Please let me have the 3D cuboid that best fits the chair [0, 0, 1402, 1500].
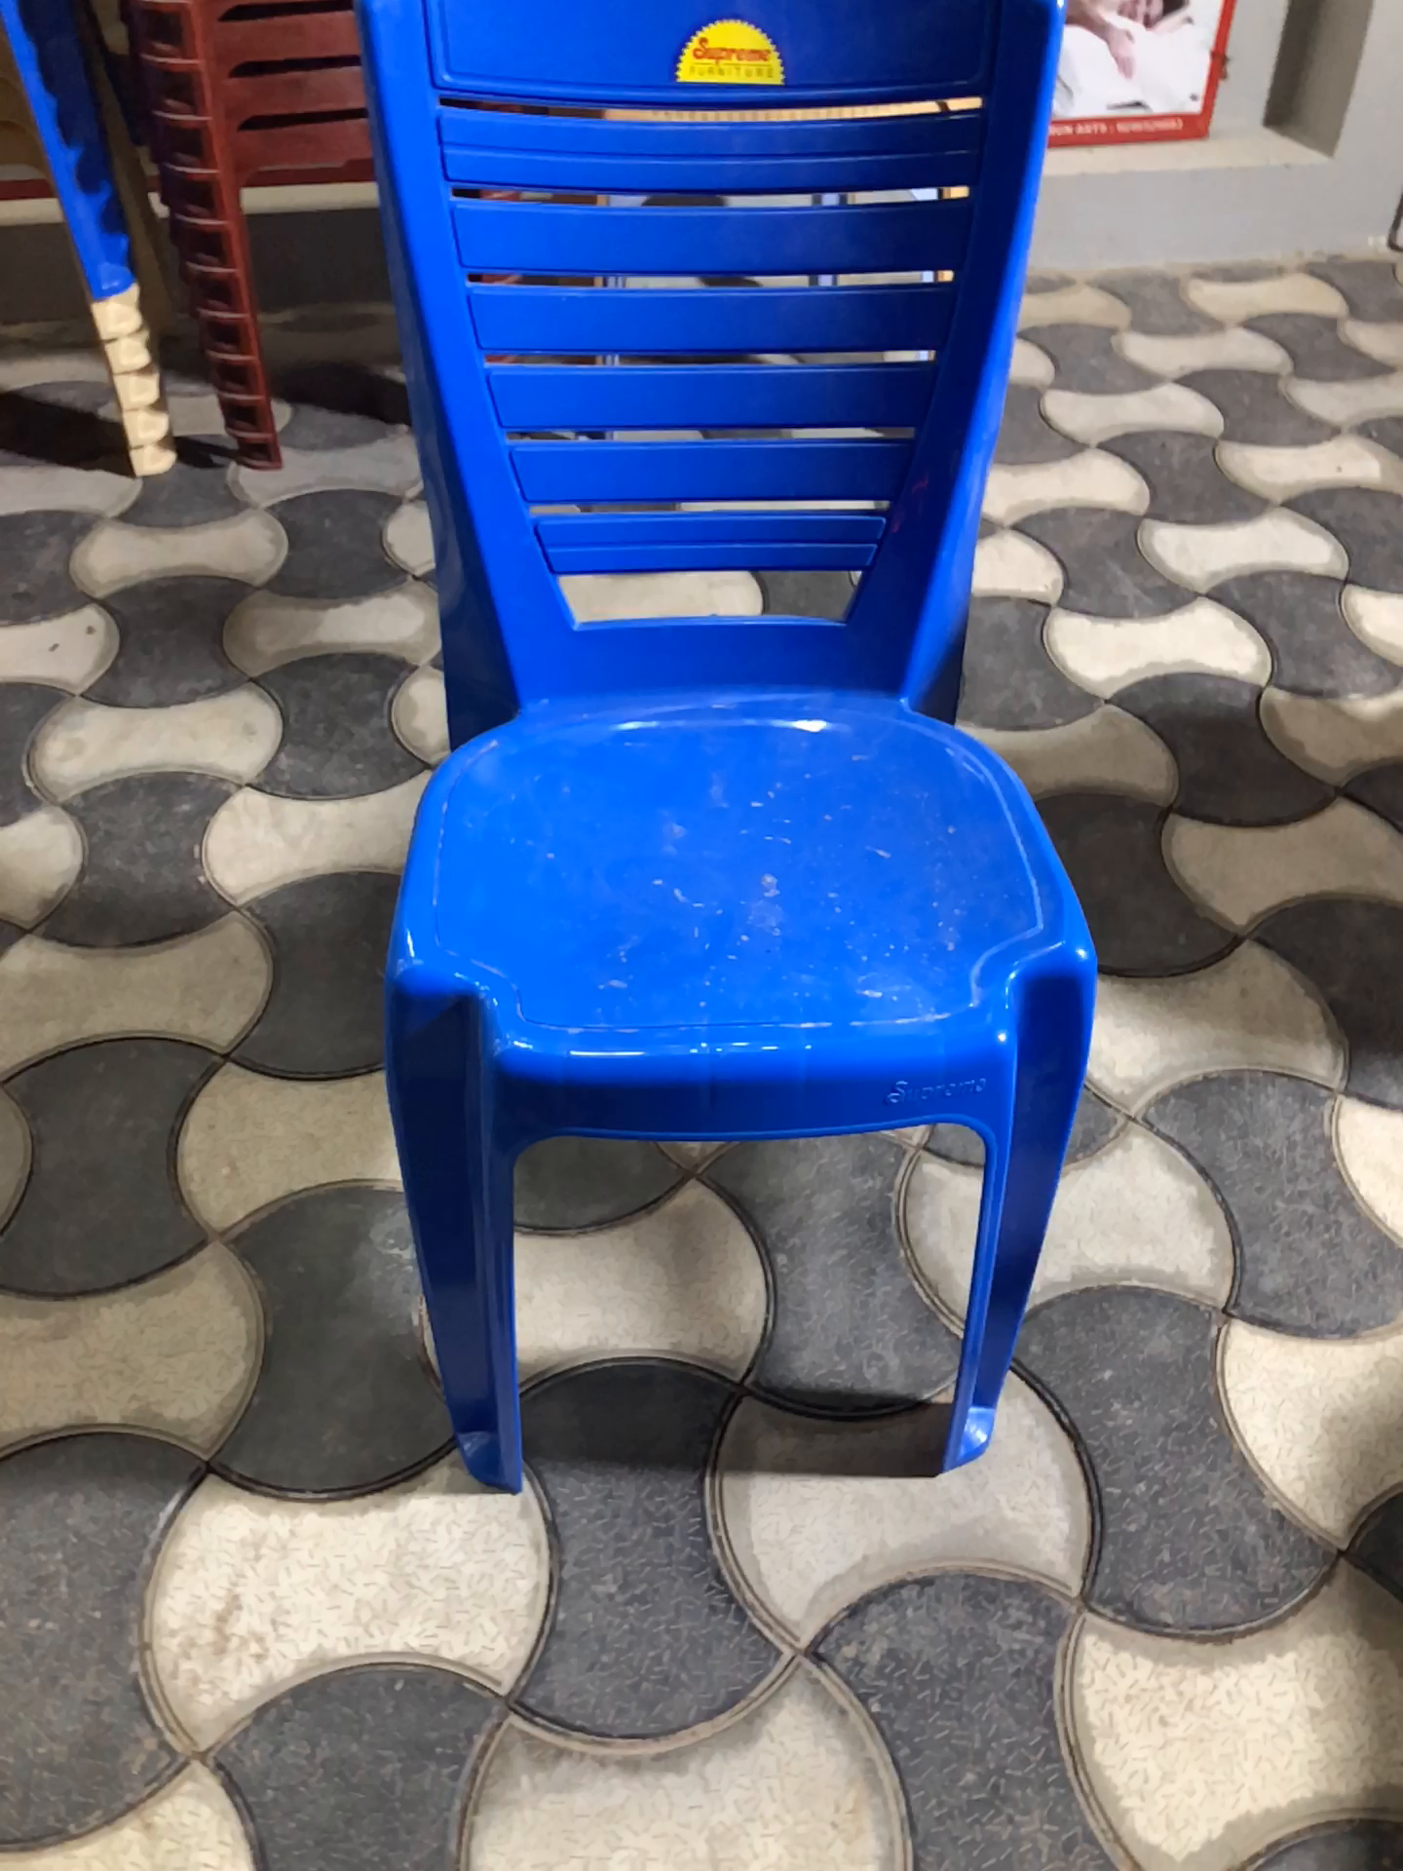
[{"bbox_3d":[0.007,-0.124,0.835,0.470,0.725,0.514,-1,42,-2],"label":"chair"}]
